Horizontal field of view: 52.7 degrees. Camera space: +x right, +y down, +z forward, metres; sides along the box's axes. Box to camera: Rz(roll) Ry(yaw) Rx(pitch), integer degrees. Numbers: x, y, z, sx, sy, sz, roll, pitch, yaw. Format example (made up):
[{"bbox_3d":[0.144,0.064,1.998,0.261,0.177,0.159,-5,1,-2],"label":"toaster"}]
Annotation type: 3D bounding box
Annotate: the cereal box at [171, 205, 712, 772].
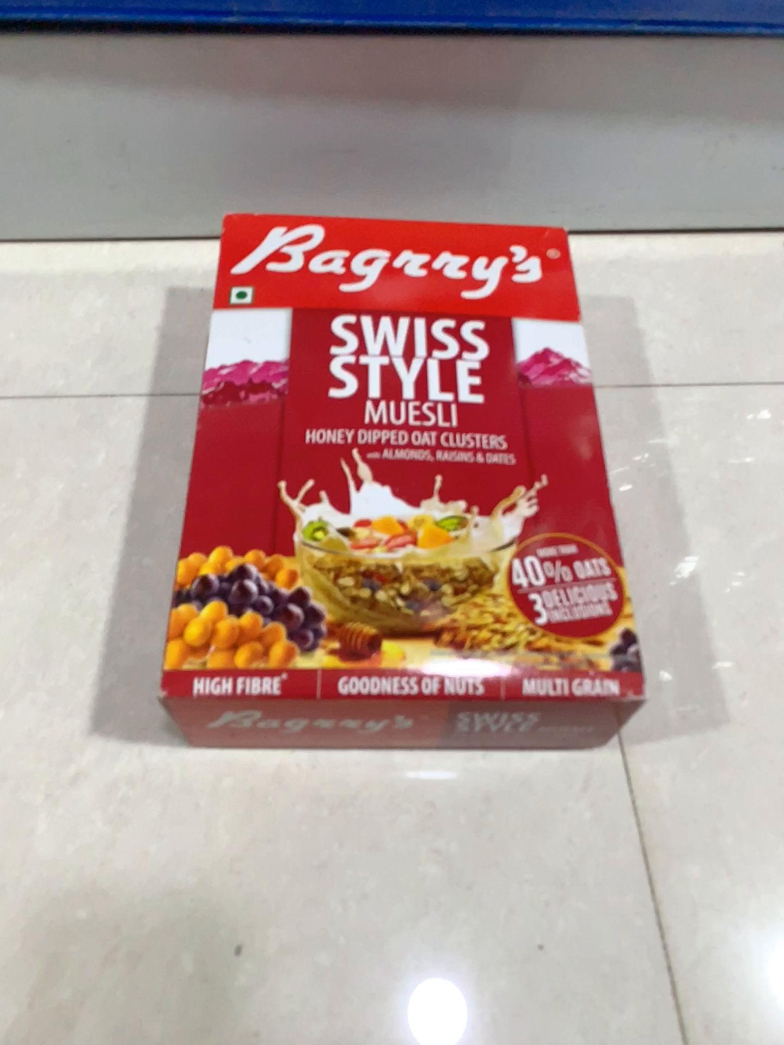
[{"bbox_3d":[0.016,-0.025,0.375,0.190,0.080,0.261,1,61,-3],"label":"cereal box"}]
